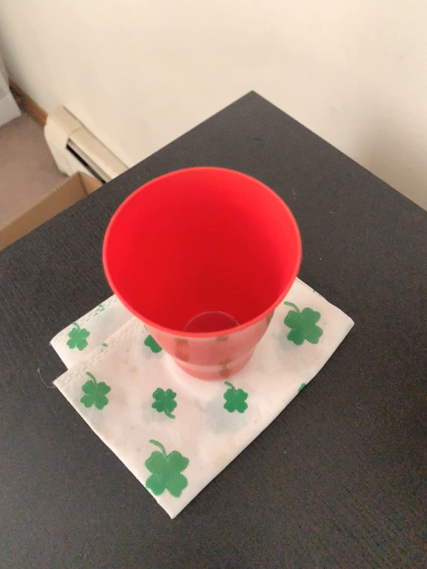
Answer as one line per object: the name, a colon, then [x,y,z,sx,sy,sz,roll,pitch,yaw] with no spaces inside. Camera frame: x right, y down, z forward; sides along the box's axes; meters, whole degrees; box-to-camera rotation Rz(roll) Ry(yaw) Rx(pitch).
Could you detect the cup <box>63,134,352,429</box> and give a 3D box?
cup: [-0.005,0.004,0.208,0.082,0.091,0.080,0,62,0]
